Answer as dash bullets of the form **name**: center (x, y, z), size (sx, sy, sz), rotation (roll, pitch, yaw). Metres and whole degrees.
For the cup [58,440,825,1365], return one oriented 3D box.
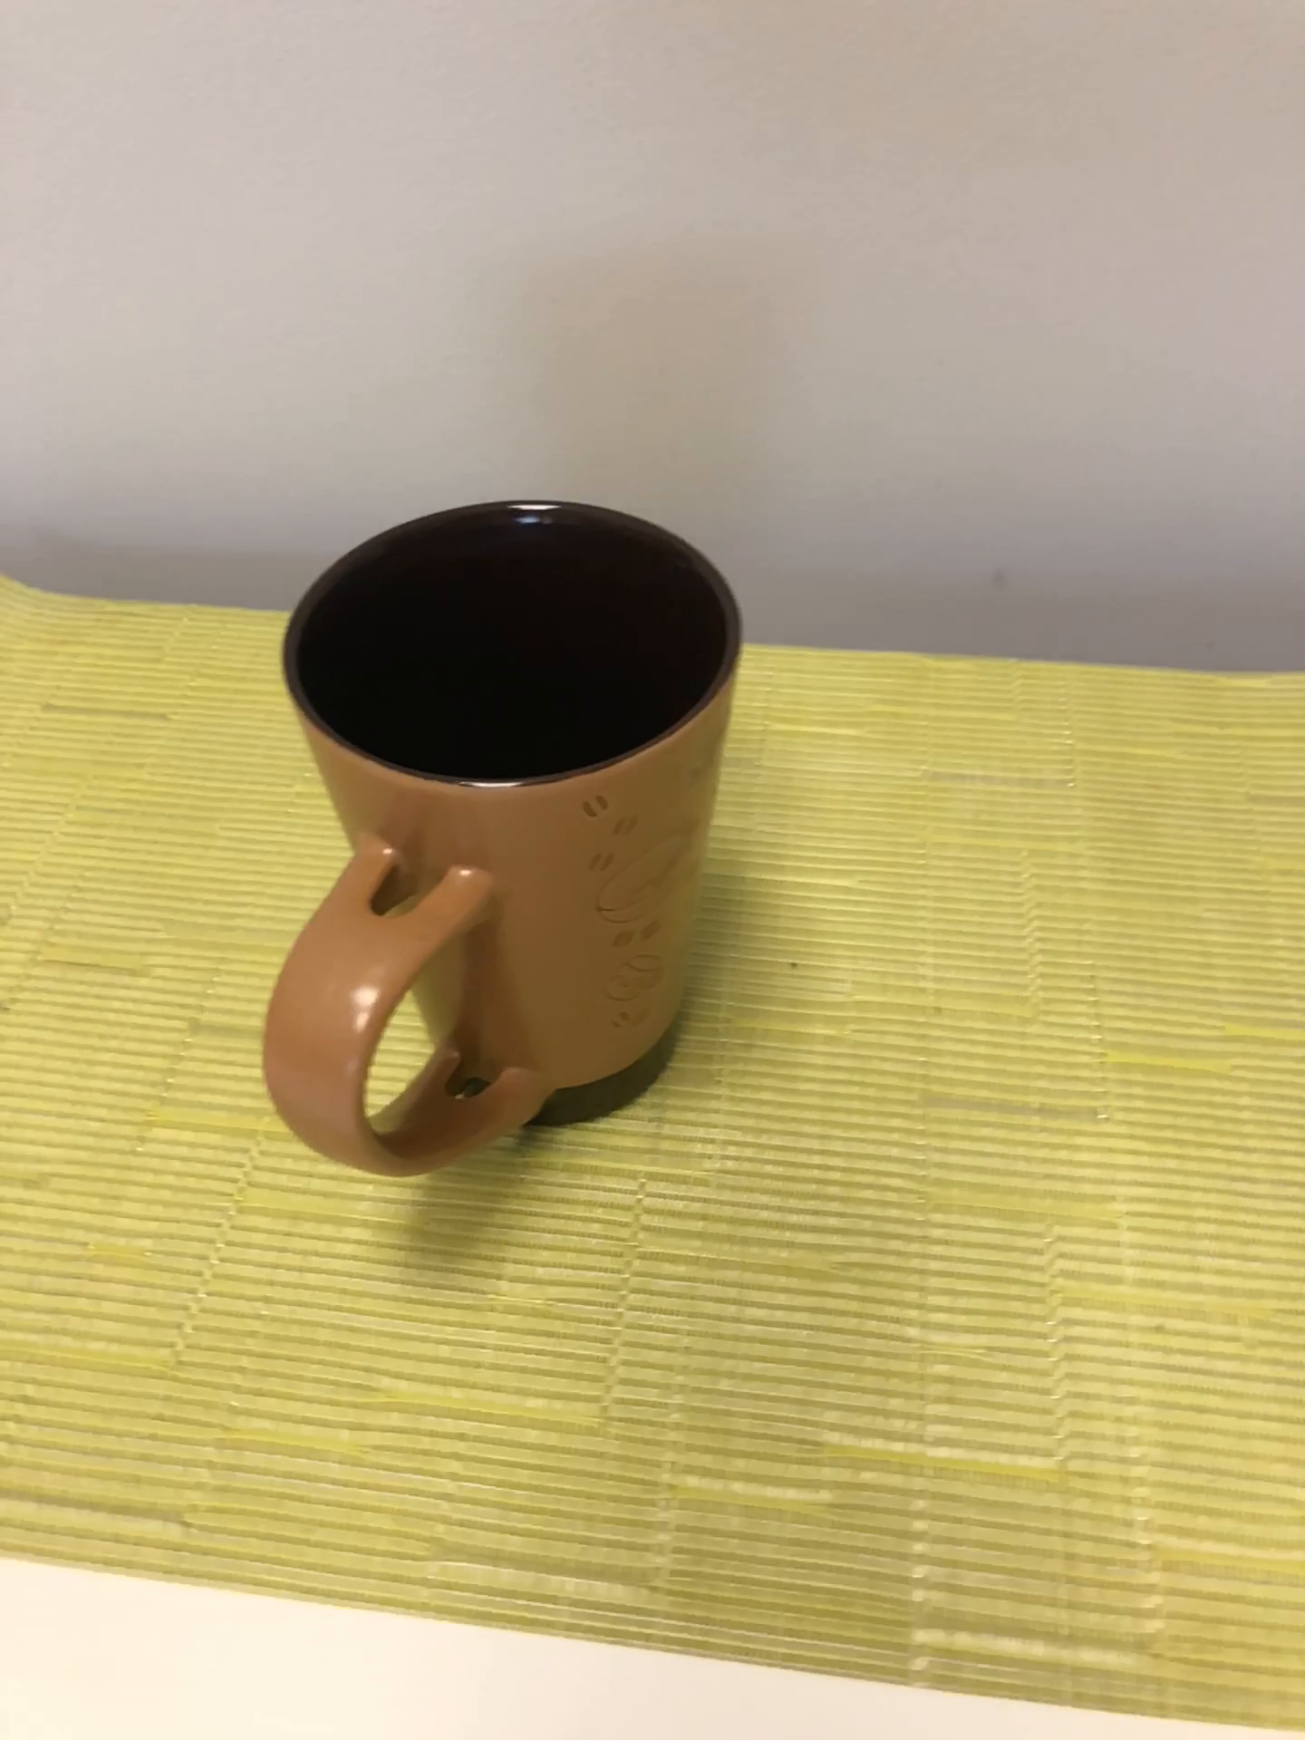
- **cup**: center (-0.028, 0.004, 0.298), size (0.090, 0.119, 0.127), rotation (13, 47, 14)
